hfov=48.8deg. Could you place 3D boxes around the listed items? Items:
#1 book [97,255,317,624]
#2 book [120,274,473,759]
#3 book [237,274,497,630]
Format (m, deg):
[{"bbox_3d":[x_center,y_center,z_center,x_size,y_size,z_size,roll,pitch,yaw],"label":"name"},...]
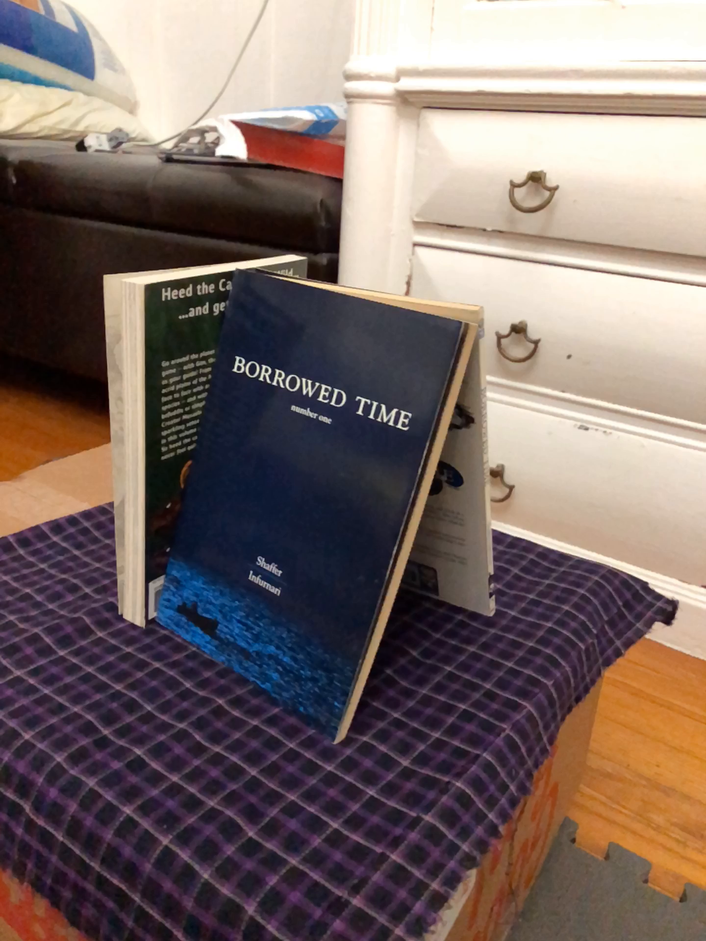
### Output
[{"bbox_3d":[-0.083,-0.023,0.451,0.020,0.189,0.141,23,27,26],"label":"book"},{"bbox_3d":[-0.038,0.013,0.387,0.150,0.200,0.010,20,6,32],"label":"book"},{"bbox_3d":[0.012,-0.006,0.437,0.140,0.199,0.010,16,43,31],"label":"book"}]
